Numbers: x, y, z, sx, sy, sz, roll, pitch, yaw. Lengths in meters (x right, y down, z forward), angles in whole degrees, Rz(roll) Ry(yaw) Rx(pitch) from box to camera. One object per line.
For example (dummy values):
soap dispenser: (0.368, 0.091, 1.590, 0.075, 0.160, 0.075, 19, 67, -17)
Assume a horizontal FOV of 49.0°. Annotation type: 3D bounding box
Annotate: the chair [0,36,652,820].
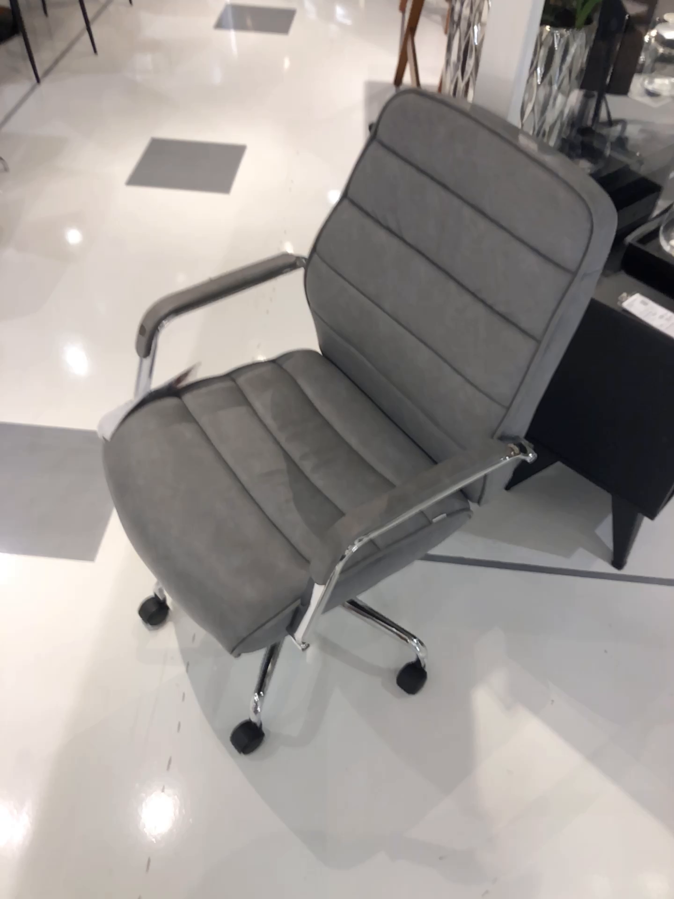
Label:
chair: (-0.086, 0.013, 1.196, 0.551, 0.993, 0.603, -24, 53, -23)
